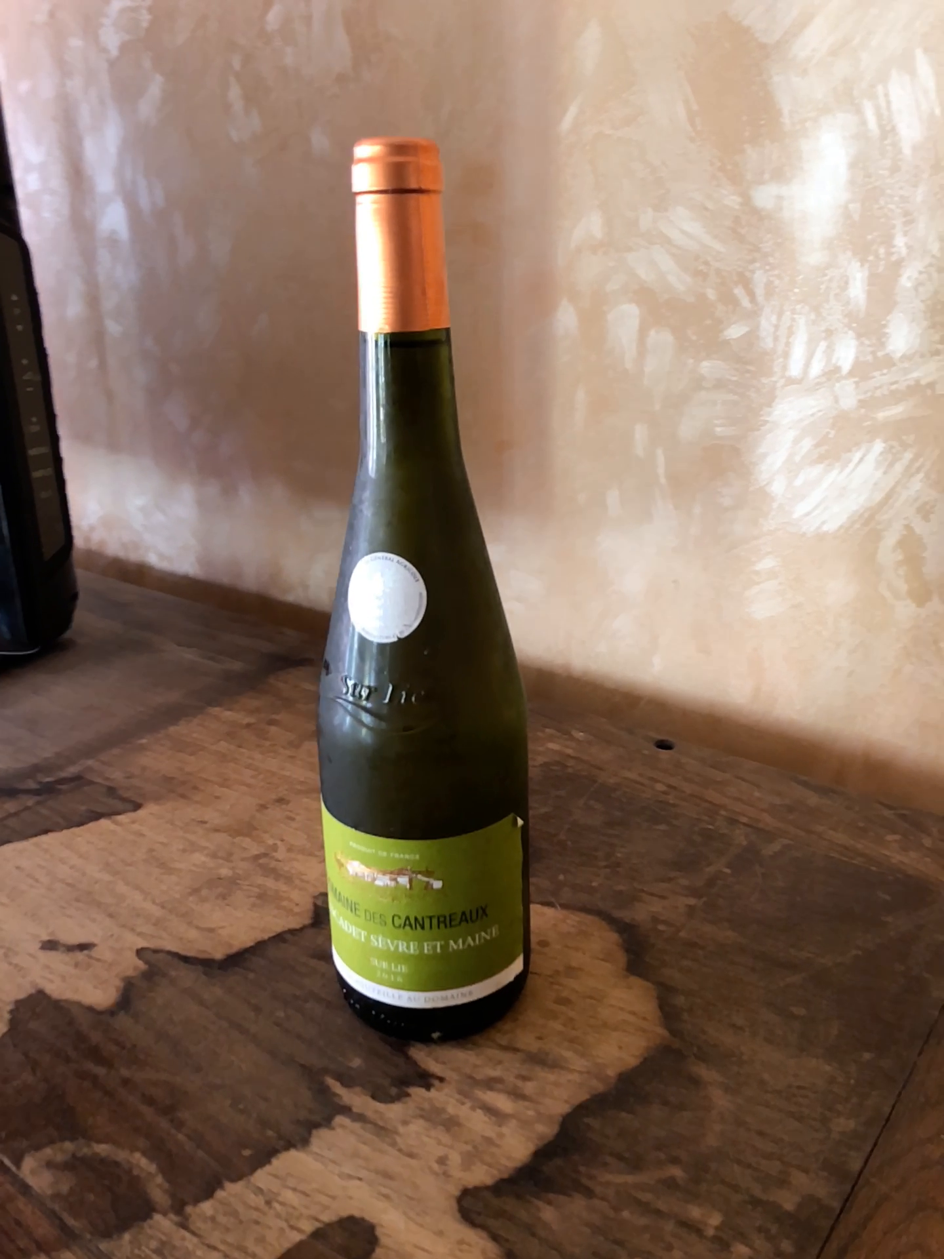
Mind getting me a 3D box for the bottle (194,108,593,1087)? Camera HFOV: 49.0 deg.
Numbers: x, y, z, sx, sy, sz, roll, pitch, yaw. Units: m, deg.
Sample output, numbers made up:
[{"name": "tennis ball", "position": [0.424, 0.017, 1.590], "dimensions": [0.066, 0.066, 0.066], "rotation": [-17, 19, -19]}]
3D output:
[{"name": "bottle", "position": [-0.021, -0.005, 0.364], "dimensions": [0.090, 0.309, 0.080], "rotation": [11, 23, 29]}]
